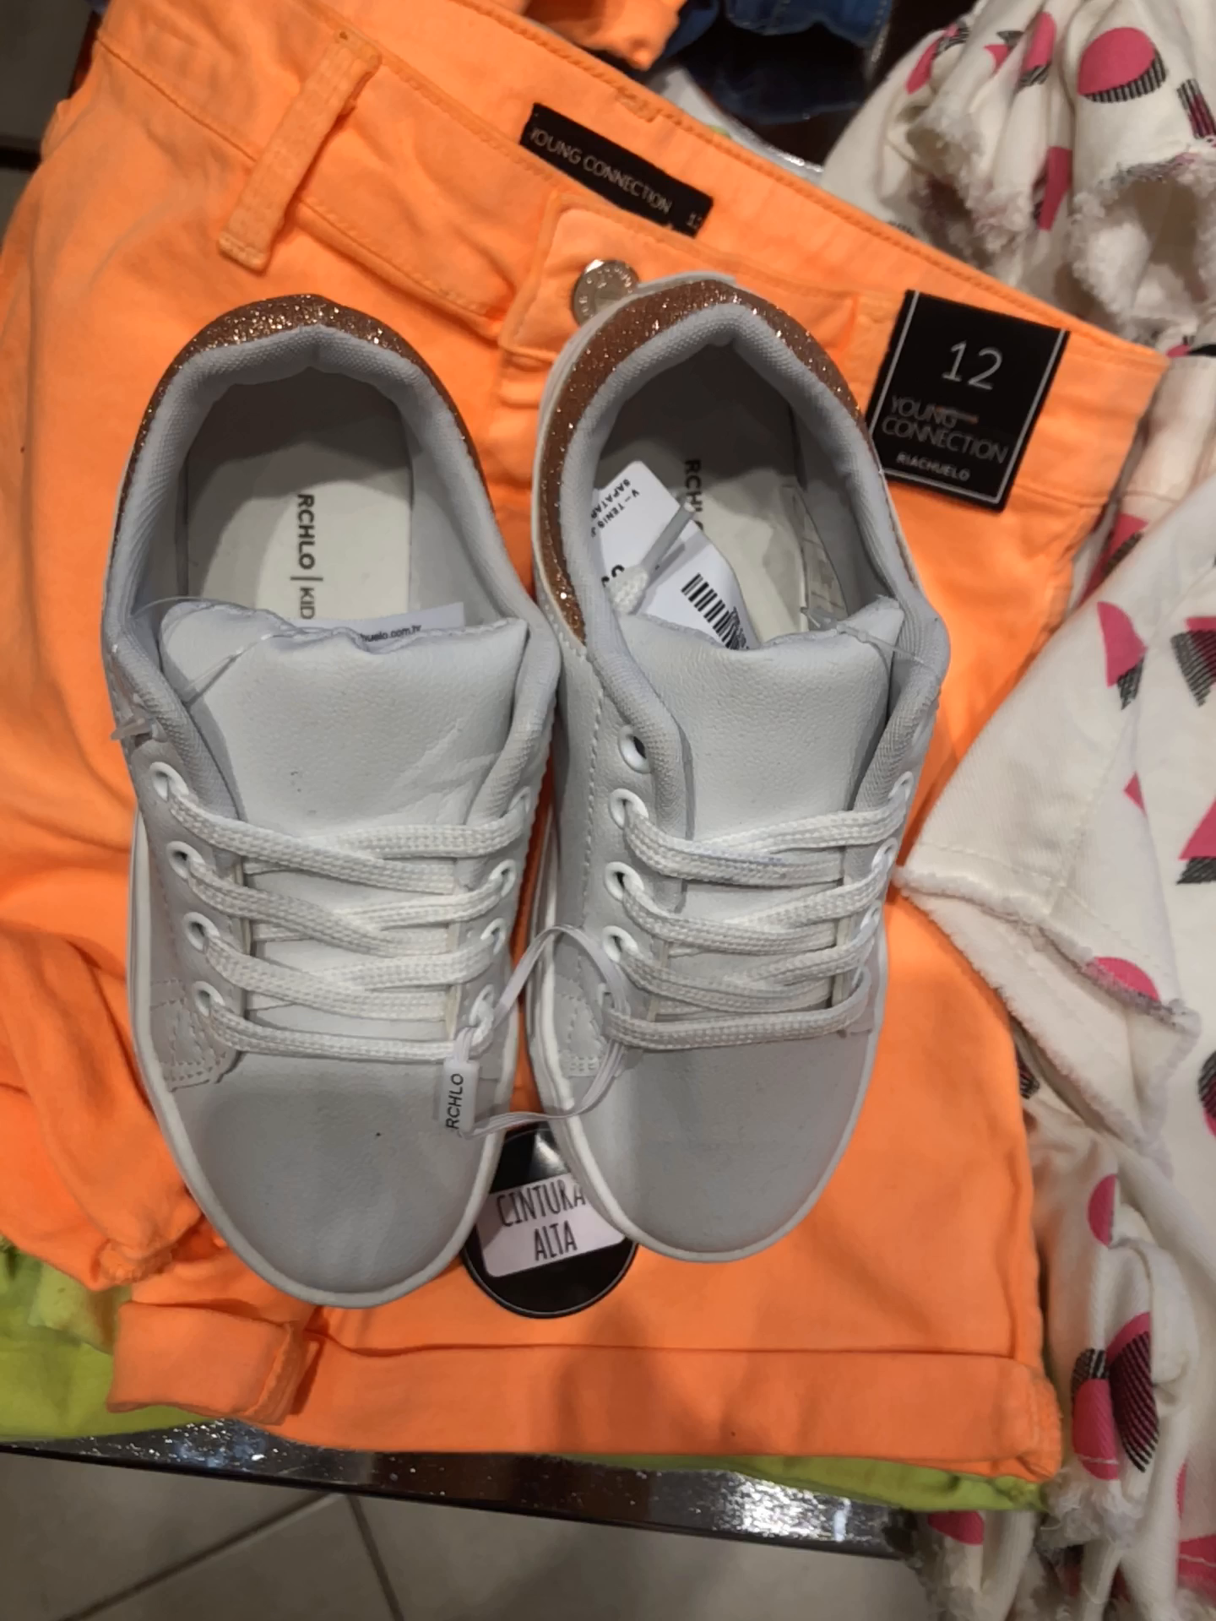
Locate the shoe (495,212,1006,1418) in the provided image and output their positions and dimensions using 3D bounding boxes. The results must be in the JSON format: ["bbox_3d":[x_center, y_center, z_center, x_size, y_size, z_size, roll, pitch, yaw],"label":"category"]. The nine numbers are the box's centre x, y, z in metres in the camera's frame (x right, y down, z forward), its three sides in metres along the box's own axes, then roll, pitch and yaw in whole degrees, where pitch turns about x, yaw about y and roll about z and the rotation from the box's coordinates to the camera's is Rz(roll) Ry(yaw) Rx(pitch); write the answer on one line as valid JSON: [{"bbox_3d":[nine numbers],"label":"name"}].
[{"bbox_3d":[0.027,0.002,0.274,0.080,0.070,0.210,-5,101,-3],"label":"shoe"}]

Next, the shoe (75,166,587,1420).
[{"bbox_3d":[-0.053,-0.003,0.270,0.080,0.070,0.210,-3,100,-17],"label":"shoe"}]
